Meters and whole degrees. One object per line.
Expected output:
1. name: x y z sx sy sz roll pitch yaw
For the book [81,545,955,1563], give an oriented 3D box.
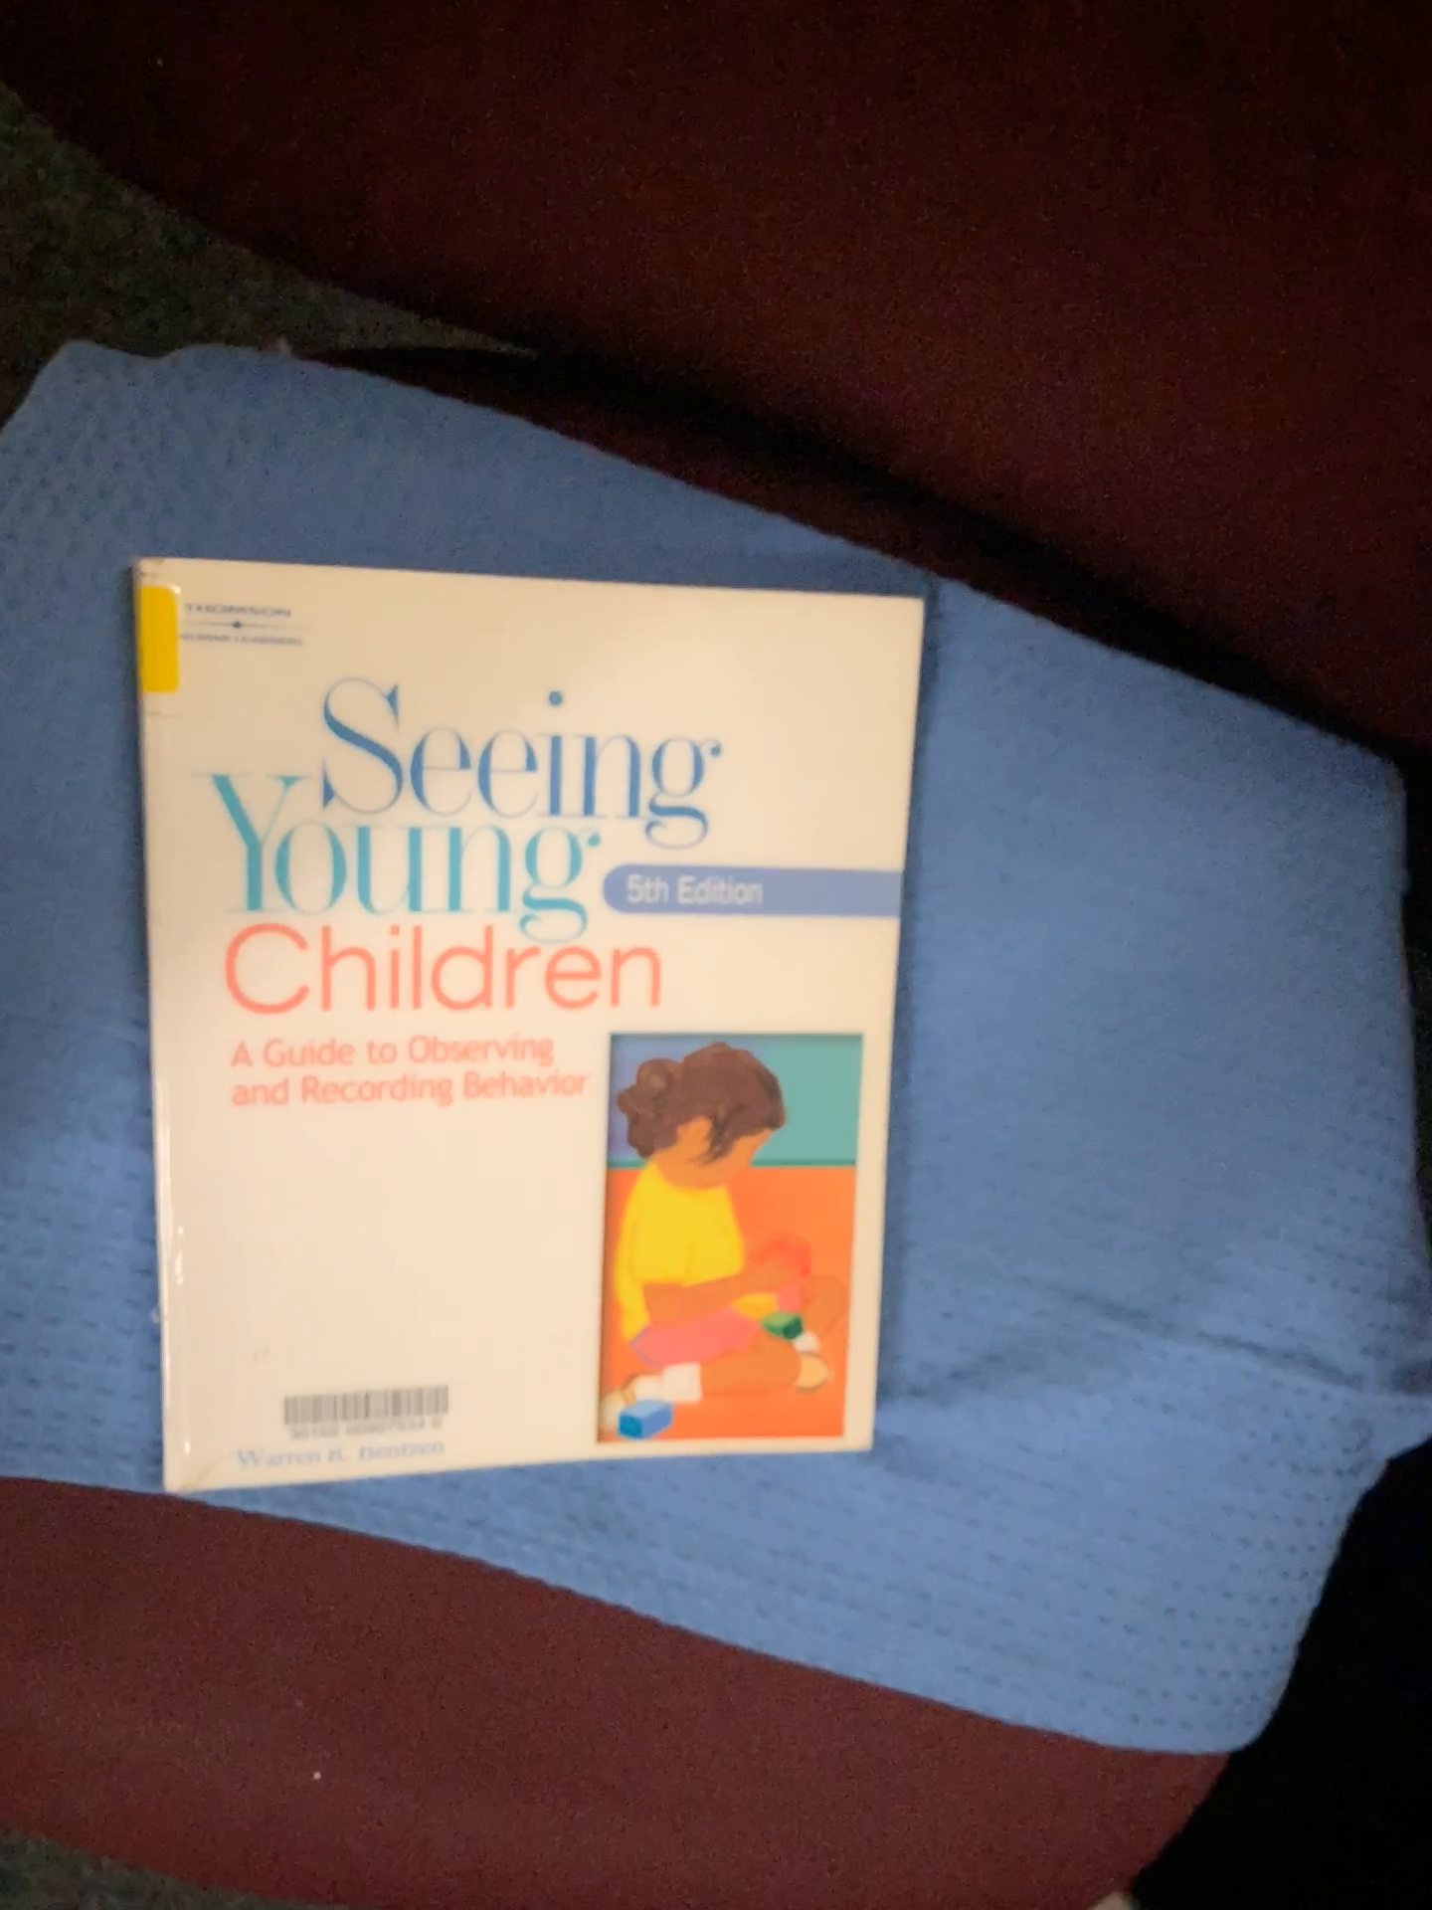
1. book: -0.048 0.029 0.385 0.200 0.030 0.250 0 104 -13
